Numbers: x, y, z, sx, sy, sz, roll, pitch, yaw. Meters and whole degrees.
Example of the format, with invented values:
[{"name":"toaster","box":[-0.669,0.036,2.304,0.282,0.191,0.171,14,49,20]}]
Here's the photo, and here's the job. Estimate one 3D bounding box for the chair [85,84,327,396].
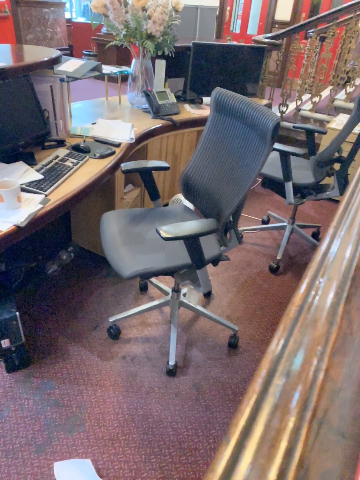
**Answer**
[{"name":"chair","box":[-0.002,-0.037,1.668,0.690,1.129,0.727,-7,34,-18]}]
